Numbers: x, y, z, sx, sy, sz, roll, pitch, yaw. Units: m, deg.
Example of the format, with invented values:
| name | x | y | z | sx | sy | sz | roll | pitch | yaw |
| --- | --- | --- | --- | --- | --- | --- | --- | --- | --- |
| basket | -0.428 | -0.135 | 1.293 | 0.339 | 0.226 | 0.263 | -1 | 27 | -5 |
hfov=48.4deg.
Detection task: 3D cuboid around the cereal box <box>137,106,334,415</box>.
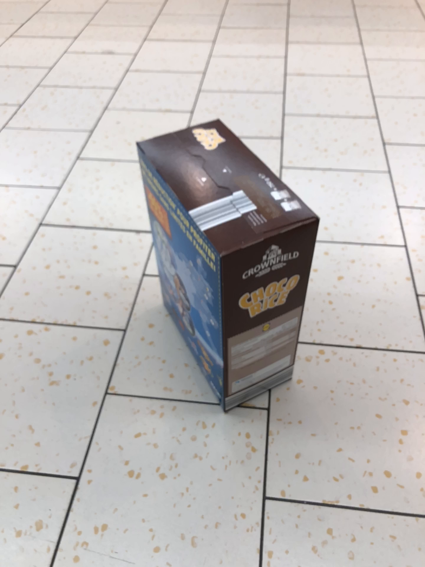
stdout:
| name | x | y | z | sx | sy | sz | roll | pitch | yaw |
| --- | --- | --- | --- | --- | --- | --- | --- | --- | --- |
| cereal box | 0.016 | -0.020 | 0.536 | 0.100 | 0.268 | 0.201 | -21 | 49 | -16 |
